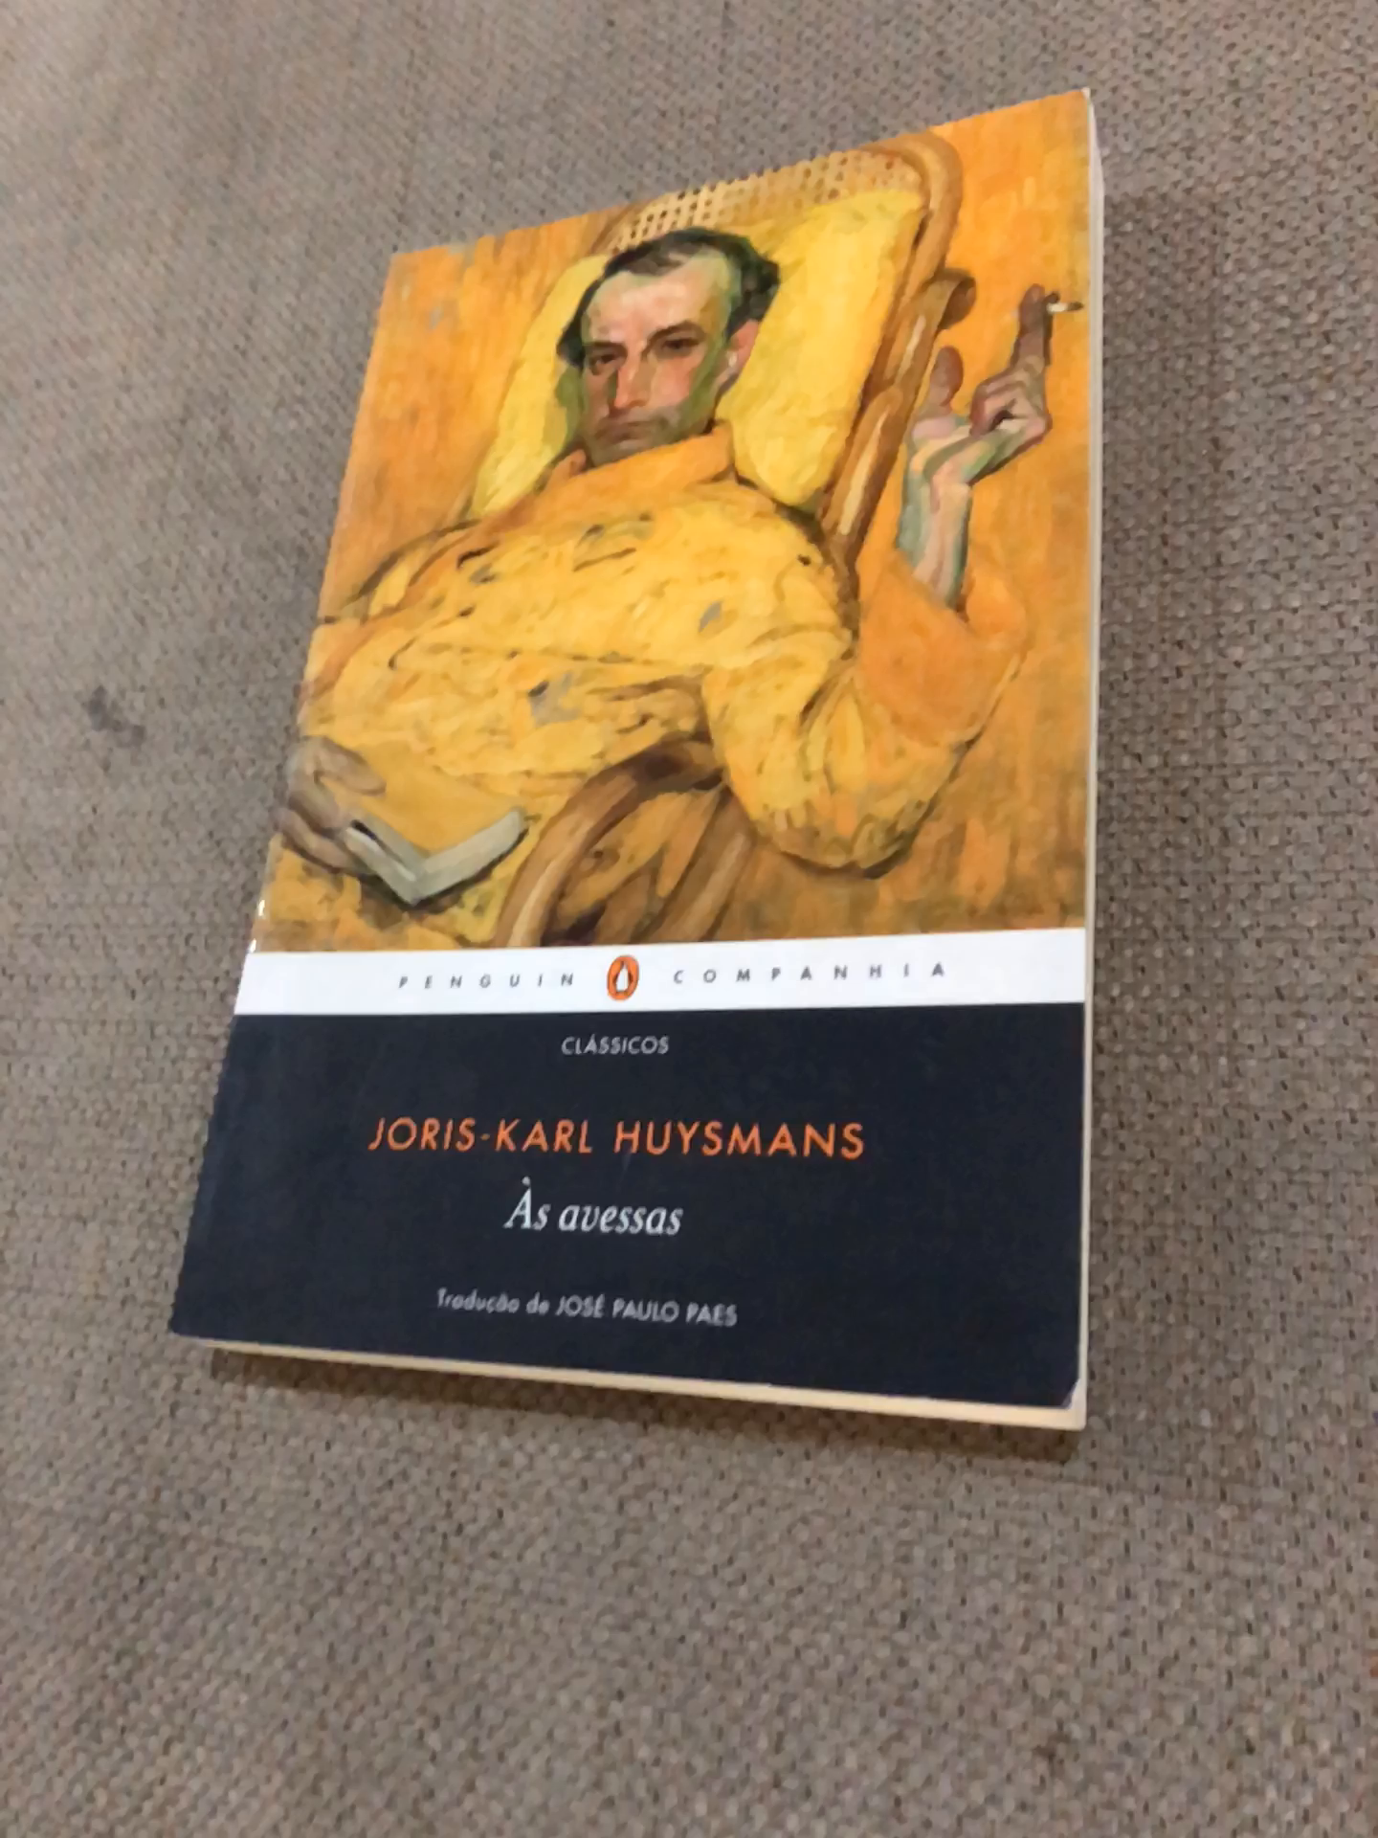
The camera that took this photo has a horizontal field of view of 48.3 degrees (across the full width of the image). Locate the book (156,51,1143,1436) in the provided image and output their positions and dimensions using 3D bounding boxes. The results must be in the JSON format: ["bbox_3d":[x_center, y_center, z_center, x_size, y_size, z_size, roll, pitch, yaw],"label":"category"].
[{"bbox_3d":[-0.001,-0.032,0.233,0.130,0.023,0.196,-2,69,23],"label":"book"}]
